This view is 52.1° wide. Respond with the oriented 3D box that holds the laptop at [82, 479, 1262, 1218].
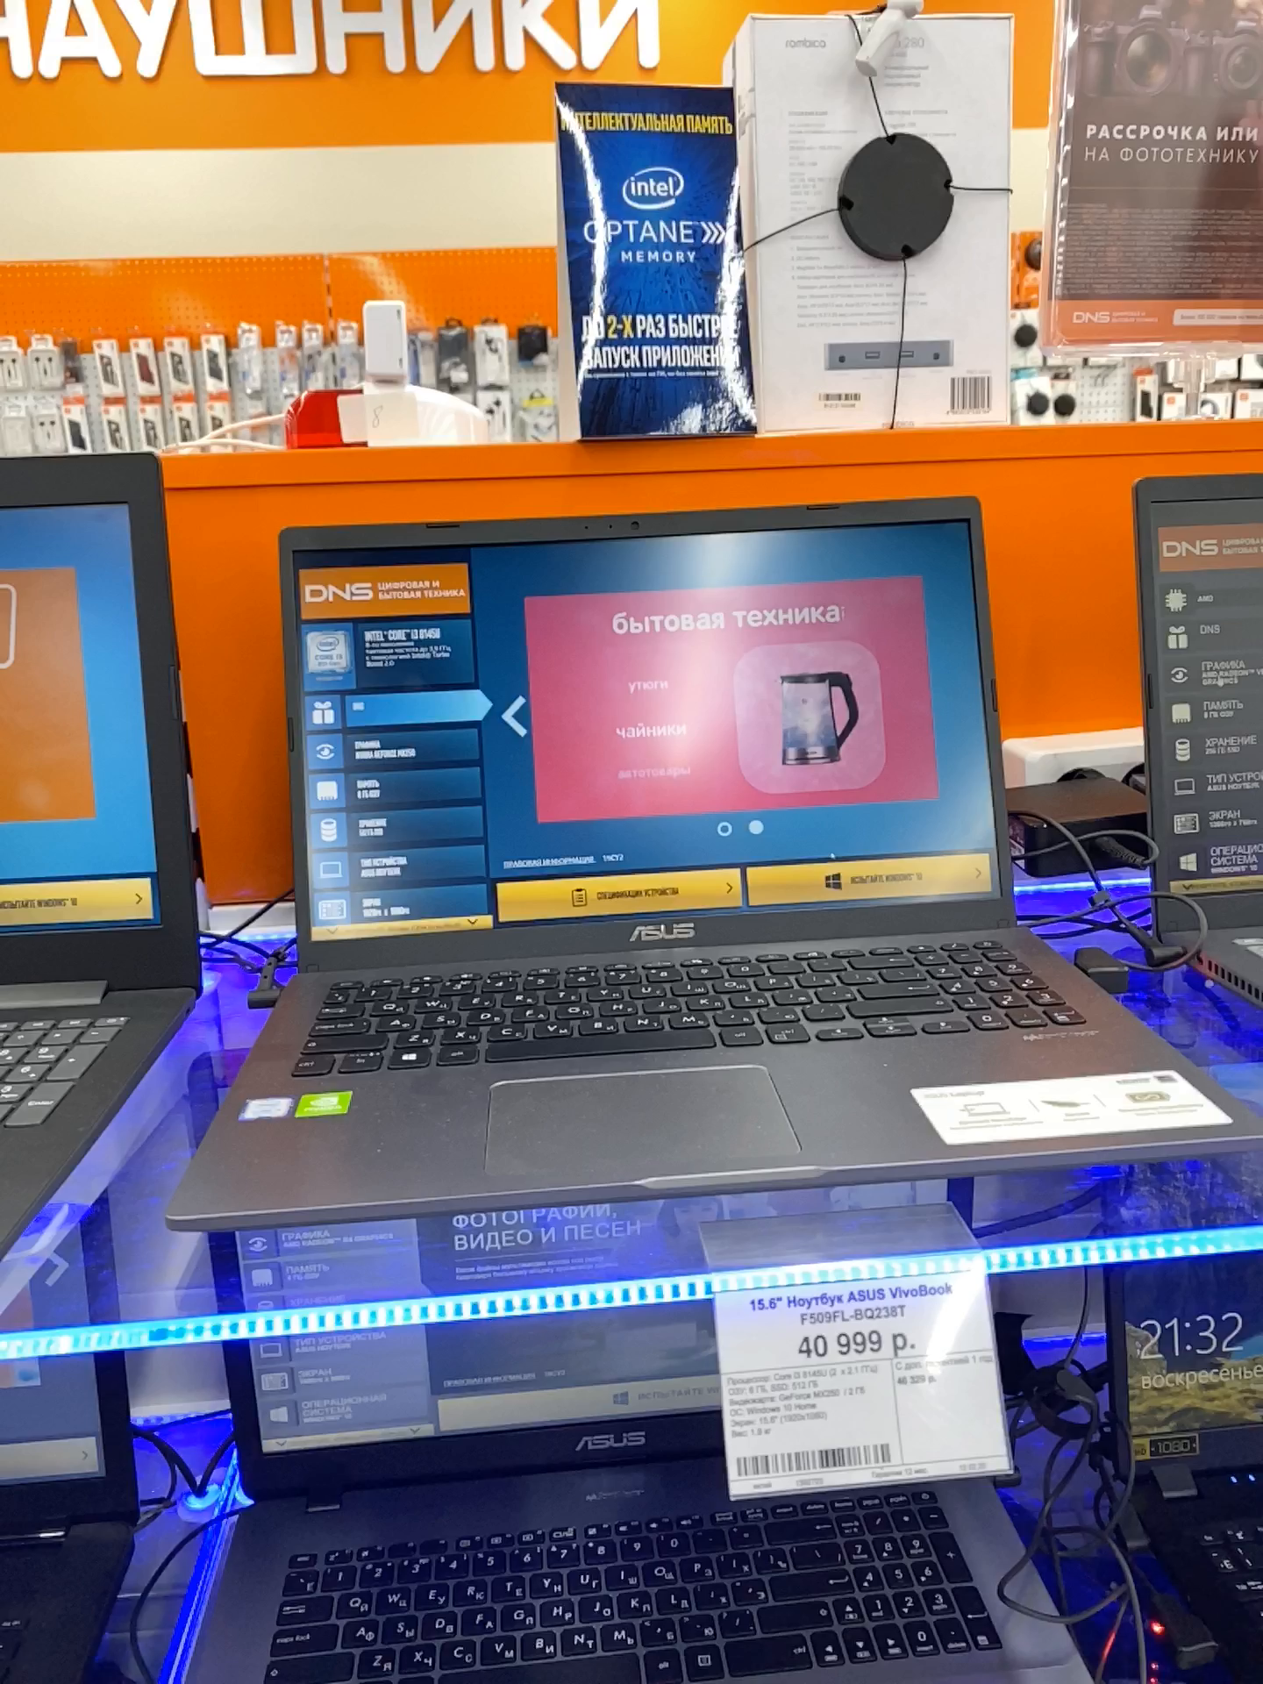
[{"bbox_3d":[0.018,-0.031,0.541,0.357,0.211,0.307,-3,13,-4],"label":"laptop"}]
